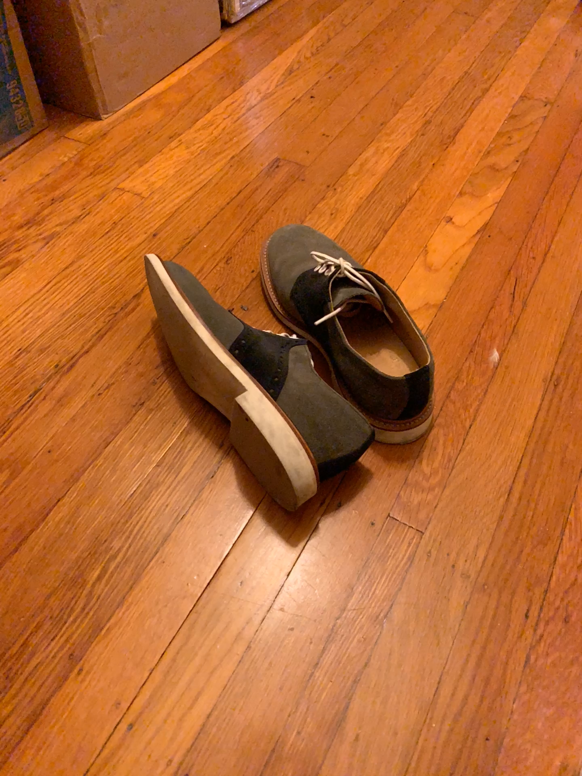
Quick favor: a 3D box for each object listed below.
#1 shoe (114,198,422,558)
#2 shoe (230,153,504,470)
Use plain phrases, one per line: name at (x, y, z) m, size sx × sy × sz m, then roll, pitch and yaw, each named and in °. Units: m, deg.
shoe at (-0.037, -0.026, 0.555) m, size 0.120 × 0.129 × 0.311 m, roll -25°, pitch 56°, yaw -21°
shoe at (0.052, -0.092, 0.583) m, size 0.130 × 0.100 × 0.311 m, roll -16°, pitch 54°, yaw -12°
